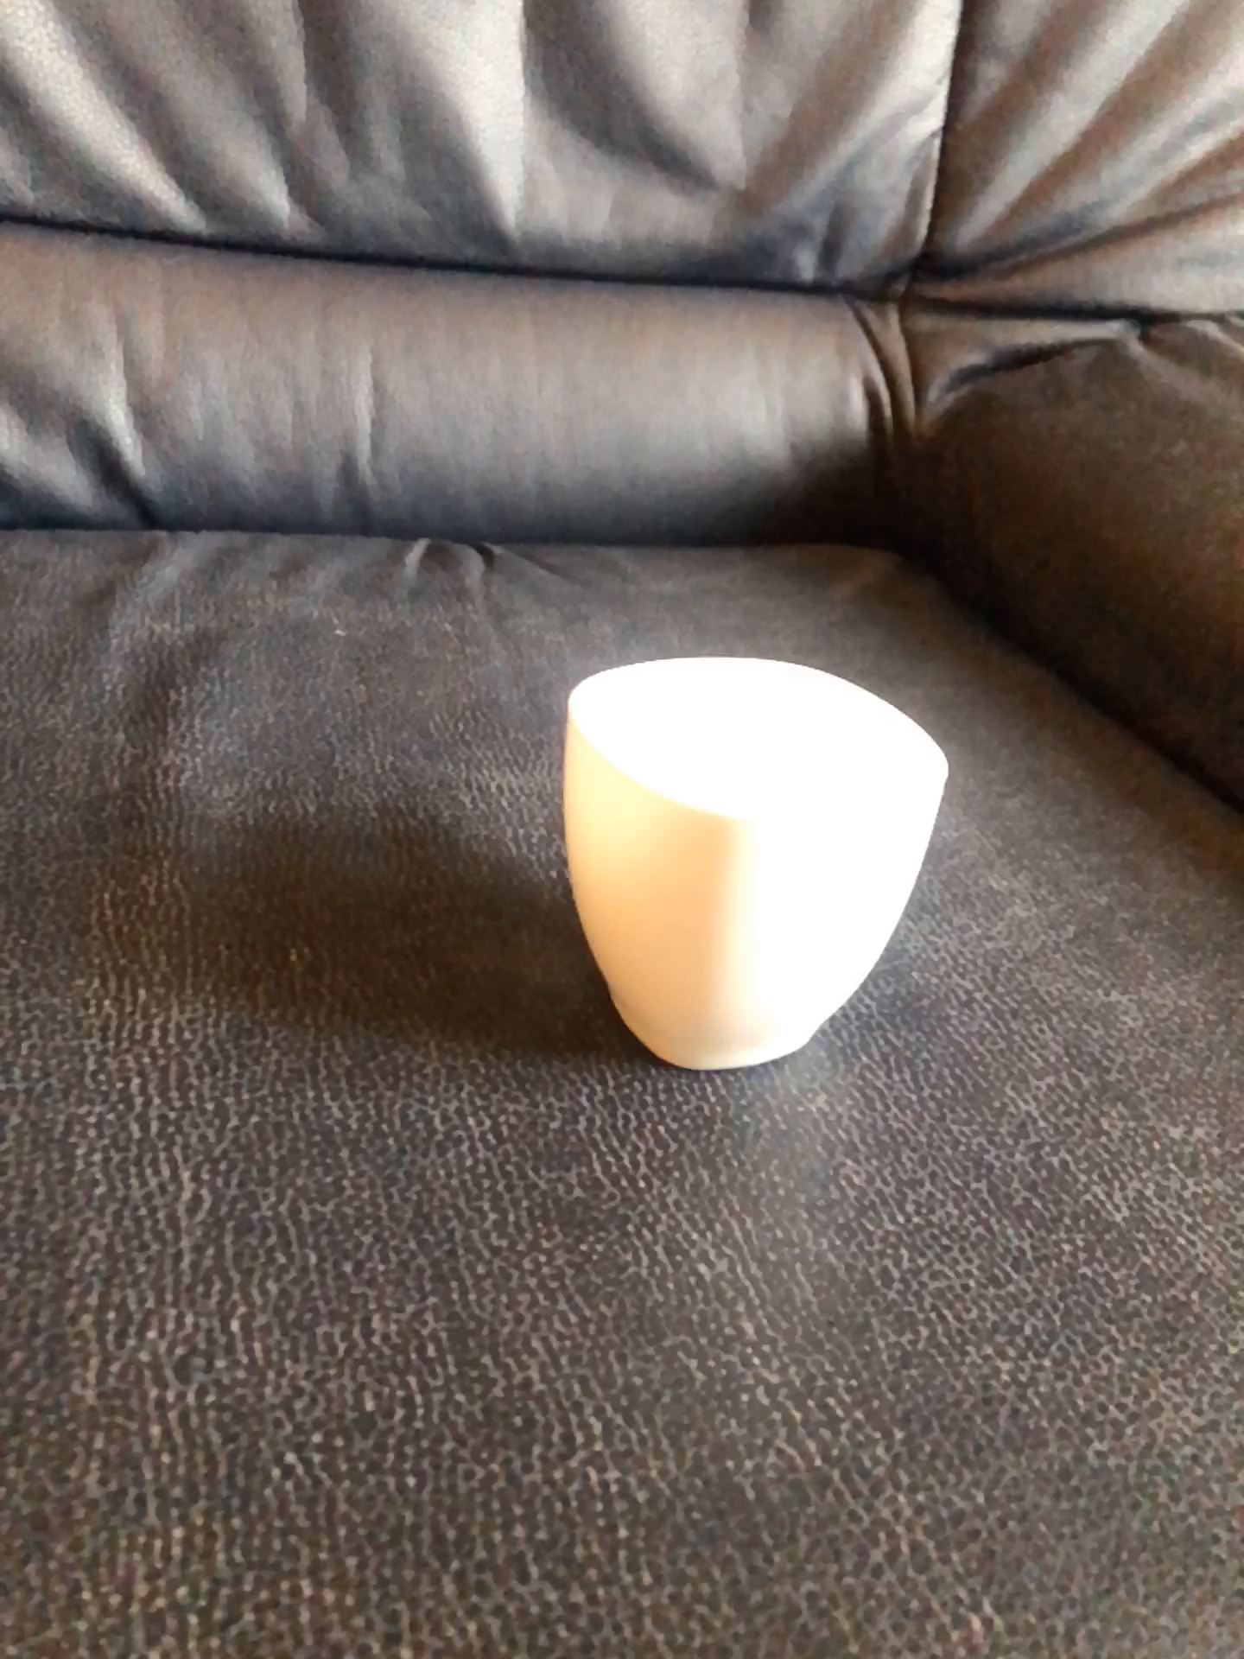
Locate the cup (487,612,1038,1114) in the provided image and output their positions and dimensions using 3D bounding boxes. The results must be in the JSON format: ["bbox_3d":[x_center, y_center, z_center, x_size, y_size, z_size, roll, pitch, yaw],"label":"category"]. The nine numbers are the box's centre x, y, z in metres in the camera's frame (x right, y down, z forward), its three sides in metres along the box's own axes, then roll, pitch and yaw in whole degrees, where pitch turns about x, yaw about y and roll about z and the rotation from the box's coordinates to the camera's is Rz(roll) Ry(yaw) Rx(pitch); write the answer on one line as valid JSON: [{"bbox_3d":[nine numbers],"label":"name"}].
[{"bbox_3d":[0.023,0.001,0.310,0.080,0.063,0.102,-4,32,-20],"label":"cup"}]
